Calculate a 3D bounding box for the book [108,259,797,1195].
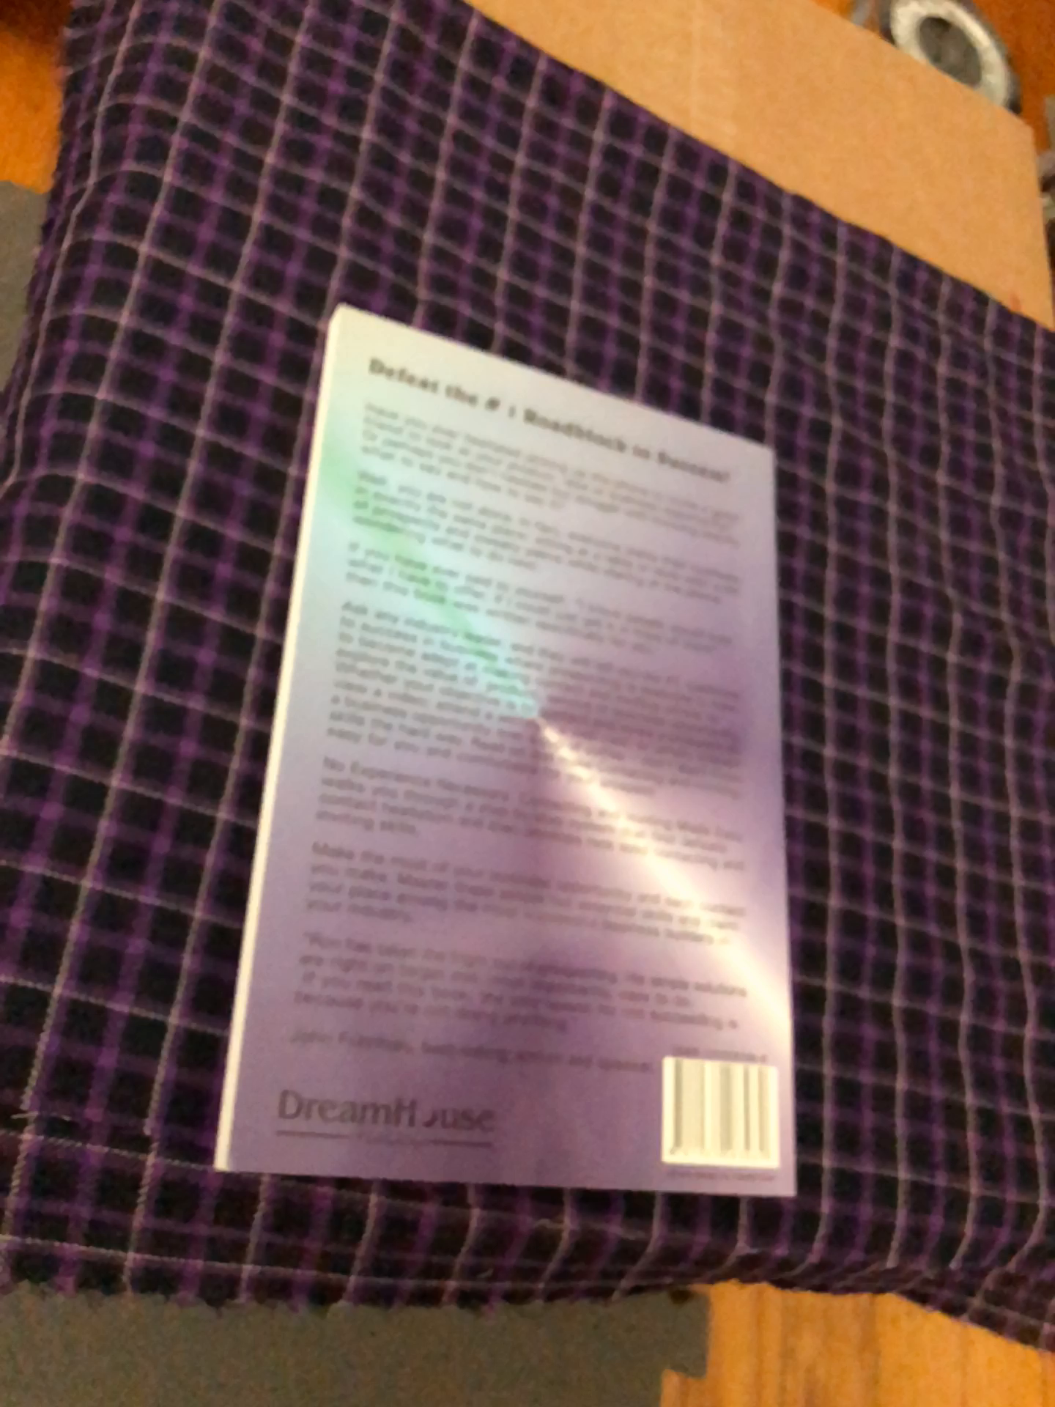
[{"bbox_3d":[-0.005,0.006,0.308,0.160,0.020,0.220,12,68,-22],"label":"book"}]
